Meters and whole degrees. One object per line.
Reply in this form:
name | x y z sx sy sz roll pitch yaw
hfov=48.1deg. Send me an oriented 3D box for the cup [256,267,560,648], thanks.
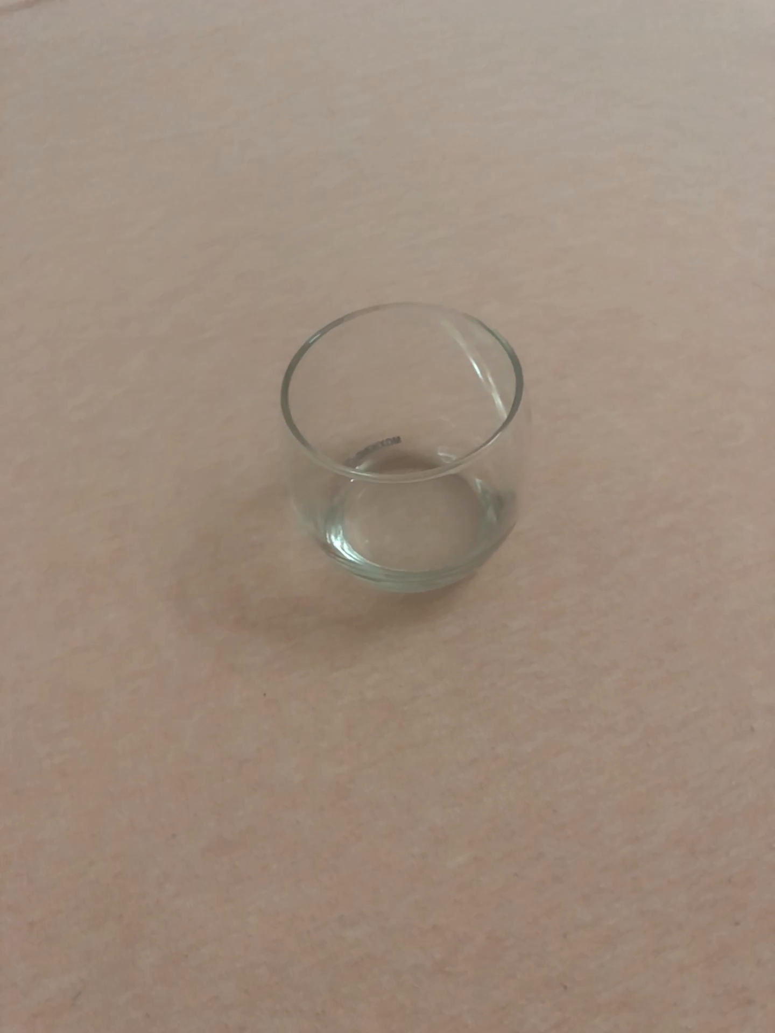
cup | 0.006 -0.020 0.334 0.090 0.100 0.090 -3 53 4
